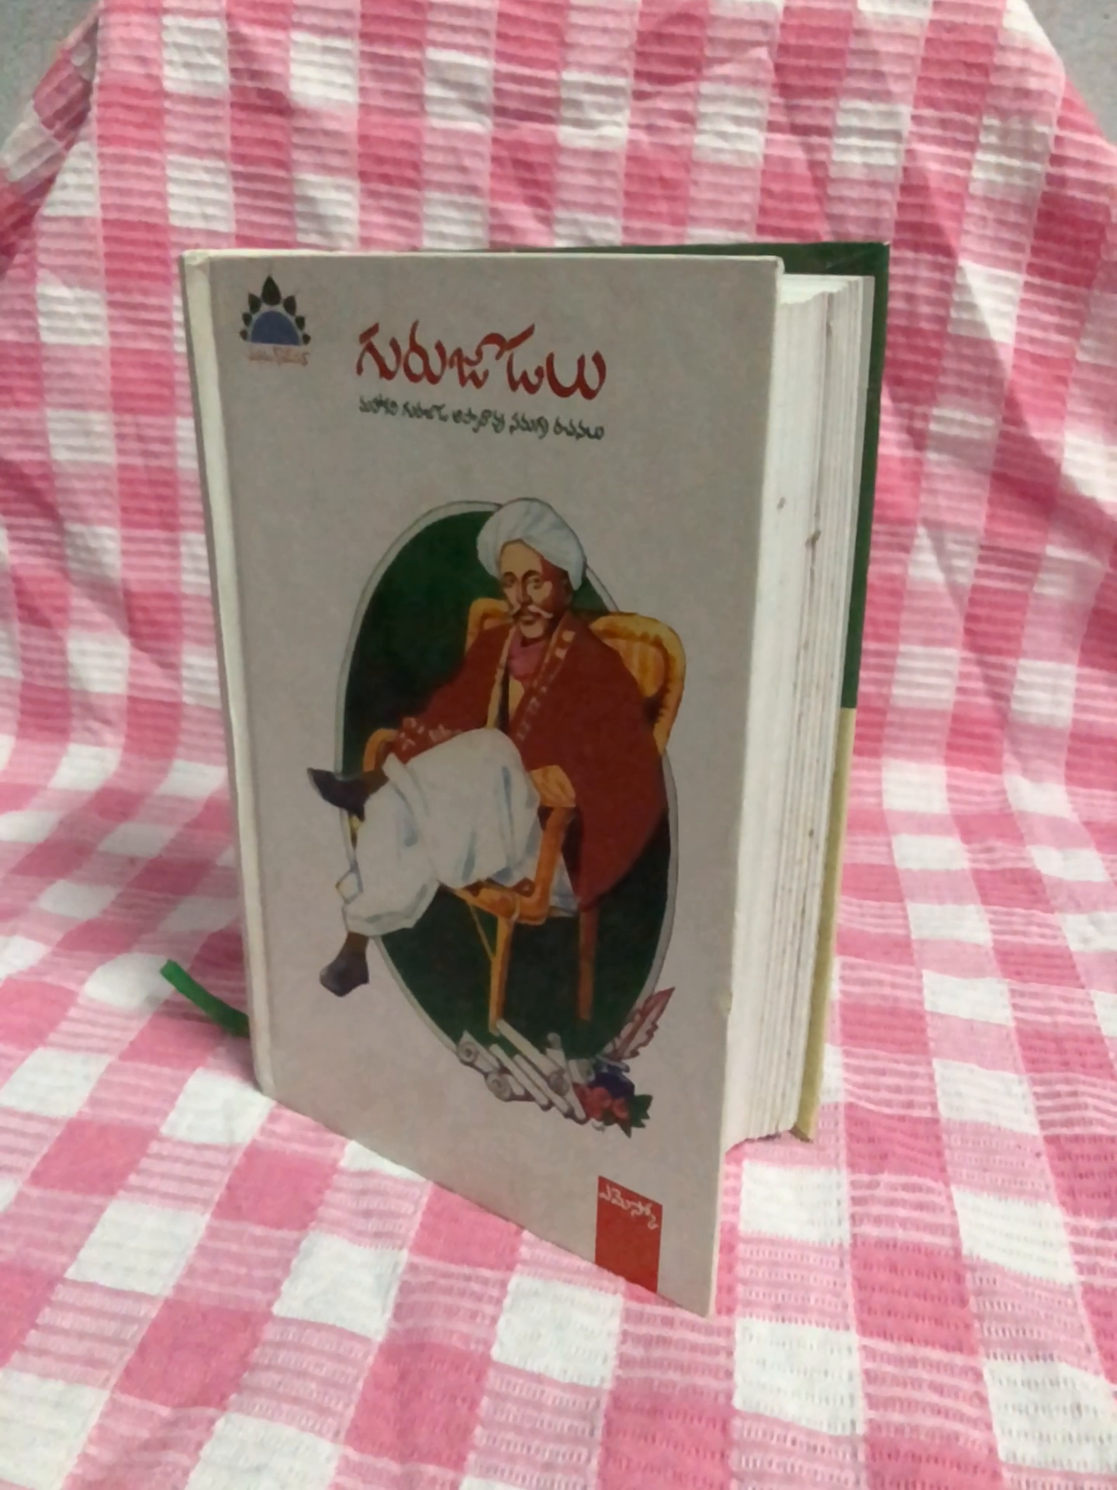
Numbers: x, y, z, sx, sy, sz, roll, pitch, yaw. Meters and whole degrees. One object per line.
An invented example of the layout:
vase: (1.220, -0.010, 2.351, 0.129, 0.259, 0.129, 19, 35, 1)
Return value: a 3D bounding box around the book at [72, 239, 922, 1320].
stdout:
book: (-0.016, -0.004, 0.290, 0.160, 0.209, 0.070, 14, 27, 31)
